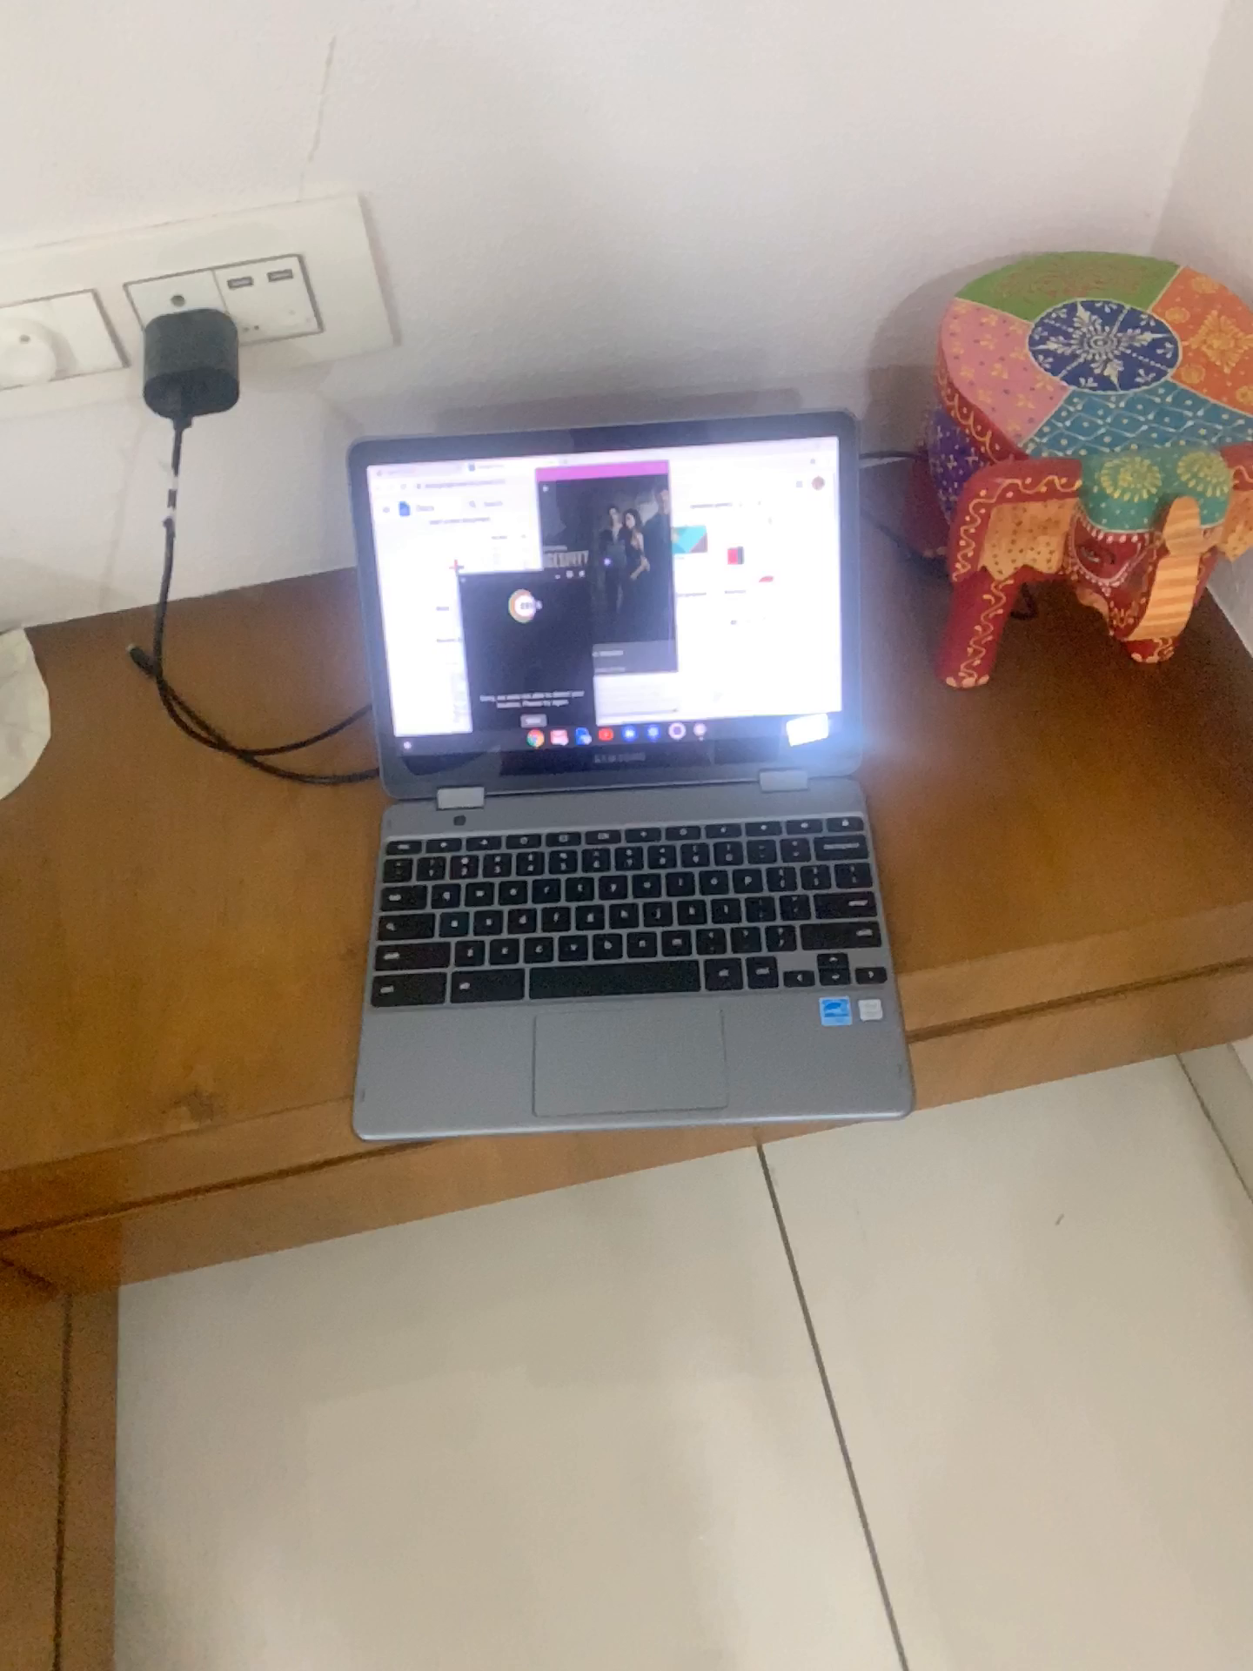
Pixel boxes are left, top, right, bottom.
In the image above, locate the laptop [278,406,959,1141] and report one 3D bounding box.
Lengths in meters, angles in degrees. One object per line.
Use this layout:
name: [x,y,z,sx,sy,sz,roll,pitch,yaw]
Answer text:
laptop: [-0.004,-0.043,0.753,0.314,0.164,0.384,-3,58,3]
